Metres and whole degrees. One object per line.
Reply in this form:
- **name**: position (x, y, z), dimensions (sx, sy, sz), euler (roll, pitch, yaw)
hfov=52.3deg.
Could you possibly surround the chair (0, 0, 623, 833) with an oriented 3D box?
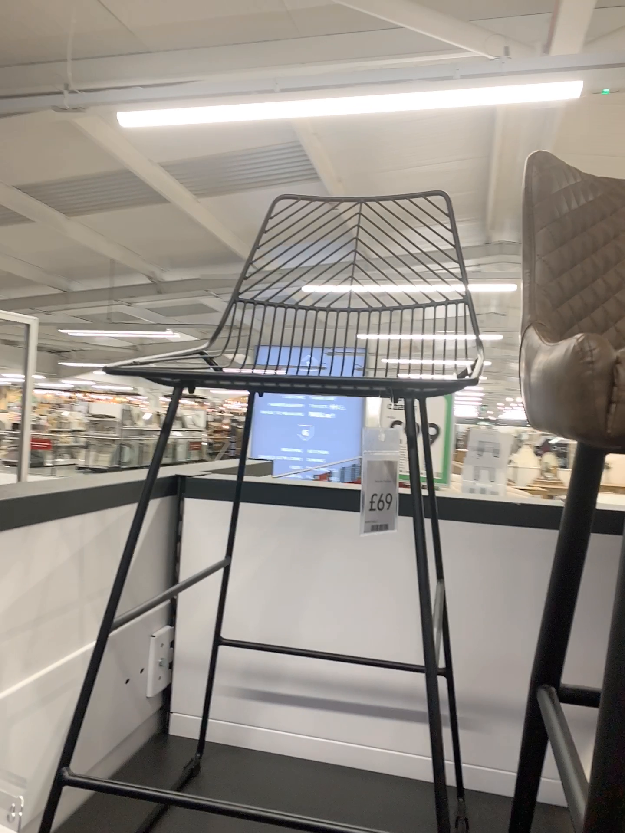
- **chair**: position (0.019, 0.088, 0.782), dimensions (0.508, 0.968, 0.528), euler (3, 0, 13)
